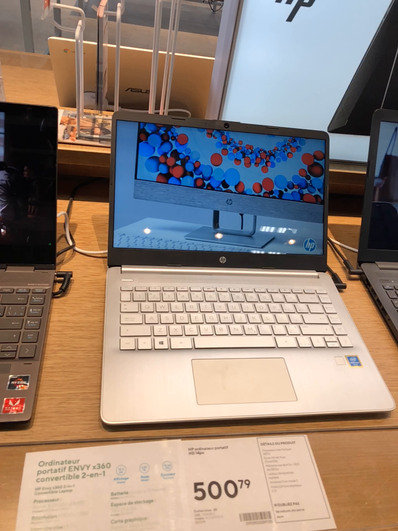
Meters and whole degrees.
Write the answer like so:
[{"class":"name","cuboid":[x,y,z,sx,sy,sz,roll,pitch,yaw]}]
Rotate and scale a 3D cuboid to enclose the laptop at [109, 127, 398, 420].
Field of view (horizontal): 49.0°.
[{"class":"laptop","cuboid":[0.054,-0.016,0.546,0.308,0.167,0.347,1,40,-9]}]
